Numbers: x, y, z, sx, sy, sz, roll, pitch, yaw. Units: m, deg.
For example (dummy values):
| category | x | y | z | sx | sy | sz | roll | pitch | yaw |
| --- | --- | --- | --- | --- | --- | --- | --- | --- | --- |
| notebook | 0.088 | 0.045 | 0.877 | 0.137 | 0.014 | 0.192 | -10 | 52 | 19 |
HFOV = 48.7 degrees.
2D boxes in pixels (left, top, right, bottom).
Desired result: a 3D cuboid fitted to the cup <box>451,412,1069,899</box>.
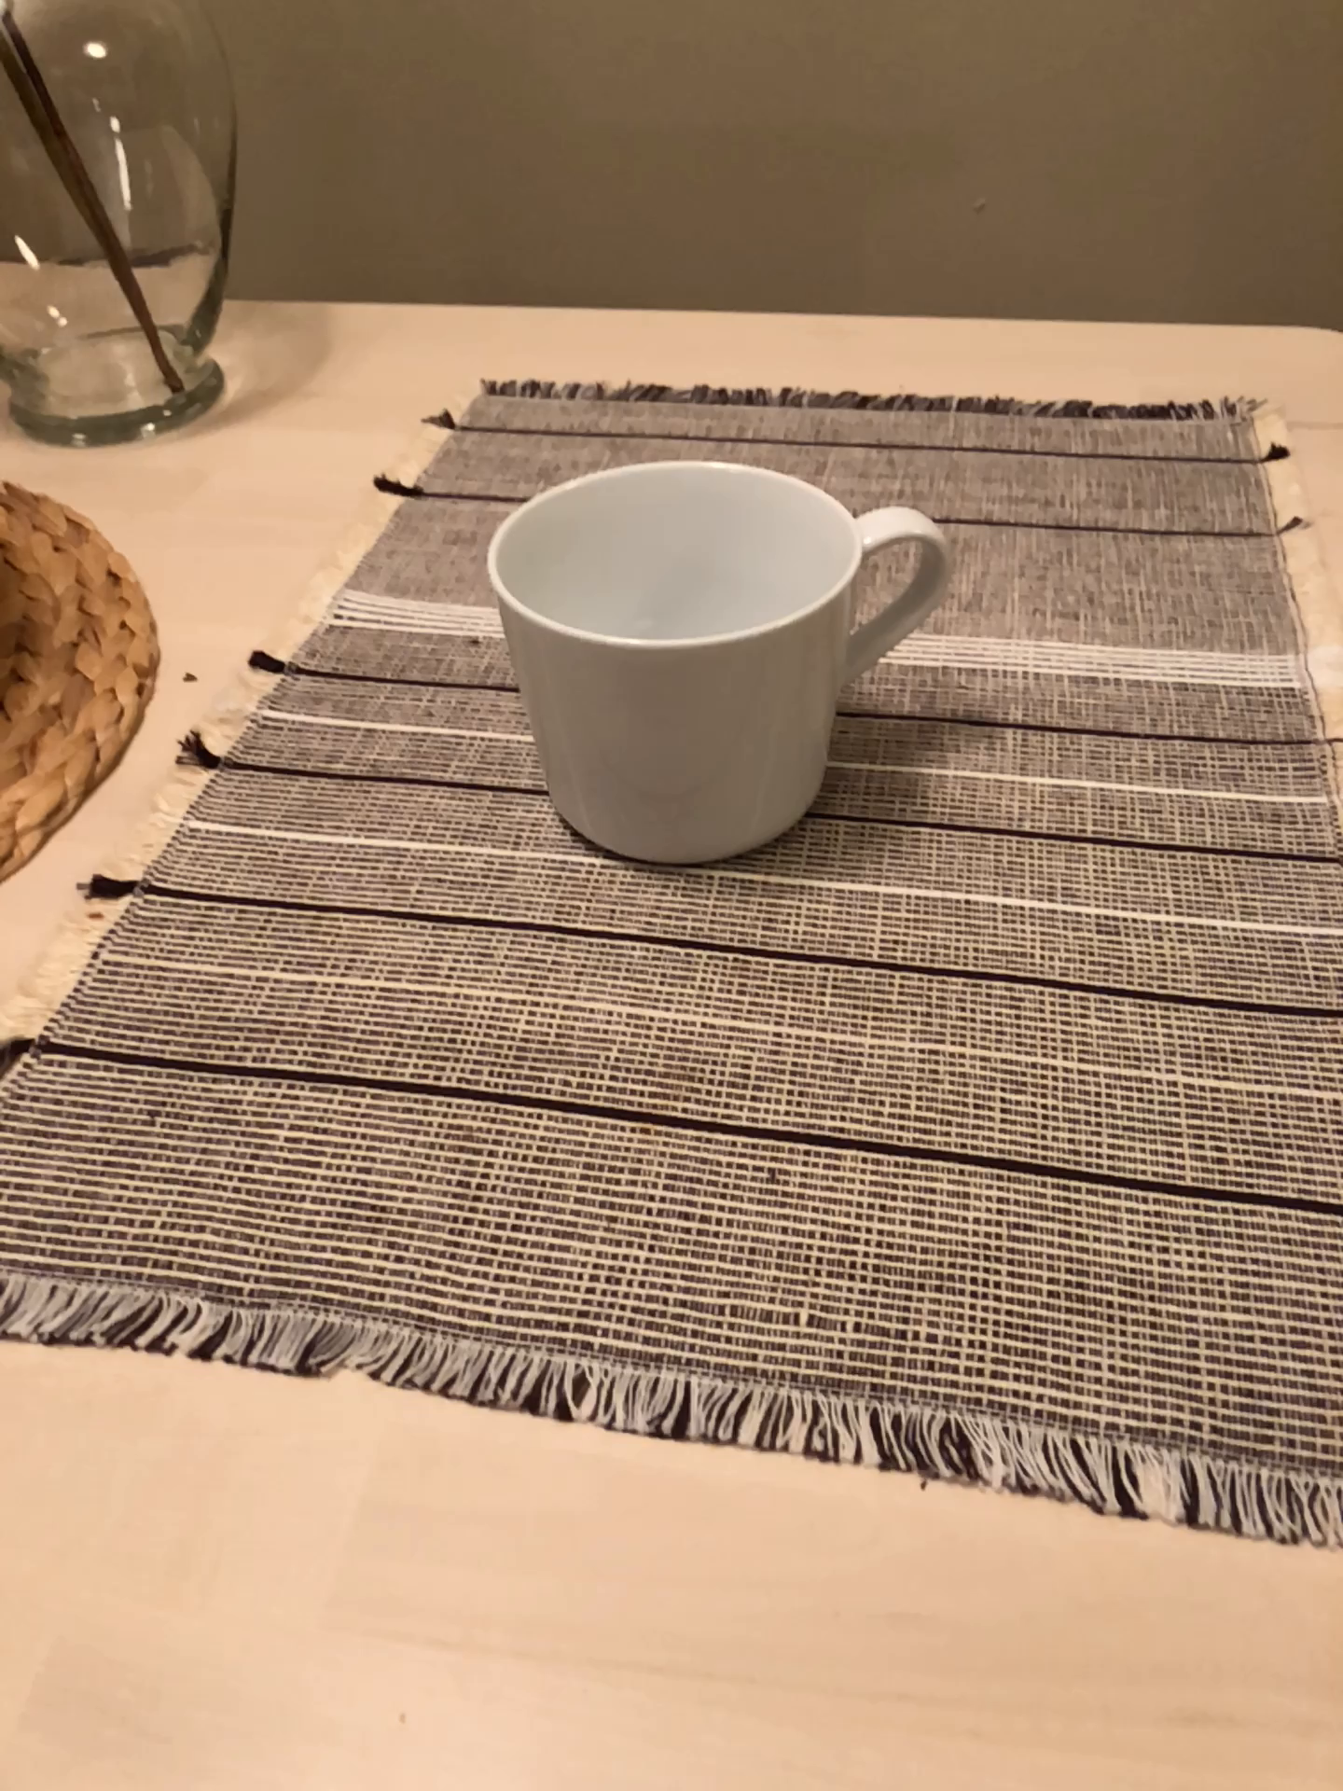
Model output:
| category | x | y | z | sx | sy | sz | roll | pitch | yaw |
| --- | --- | --- | --- | --- | --- | --- | --- | --- | --- |
| cup | 0.021 | -0.073 | 0.424 | 0.140 | 0.070 | 0.101 | -15 | 42 | -13 |
